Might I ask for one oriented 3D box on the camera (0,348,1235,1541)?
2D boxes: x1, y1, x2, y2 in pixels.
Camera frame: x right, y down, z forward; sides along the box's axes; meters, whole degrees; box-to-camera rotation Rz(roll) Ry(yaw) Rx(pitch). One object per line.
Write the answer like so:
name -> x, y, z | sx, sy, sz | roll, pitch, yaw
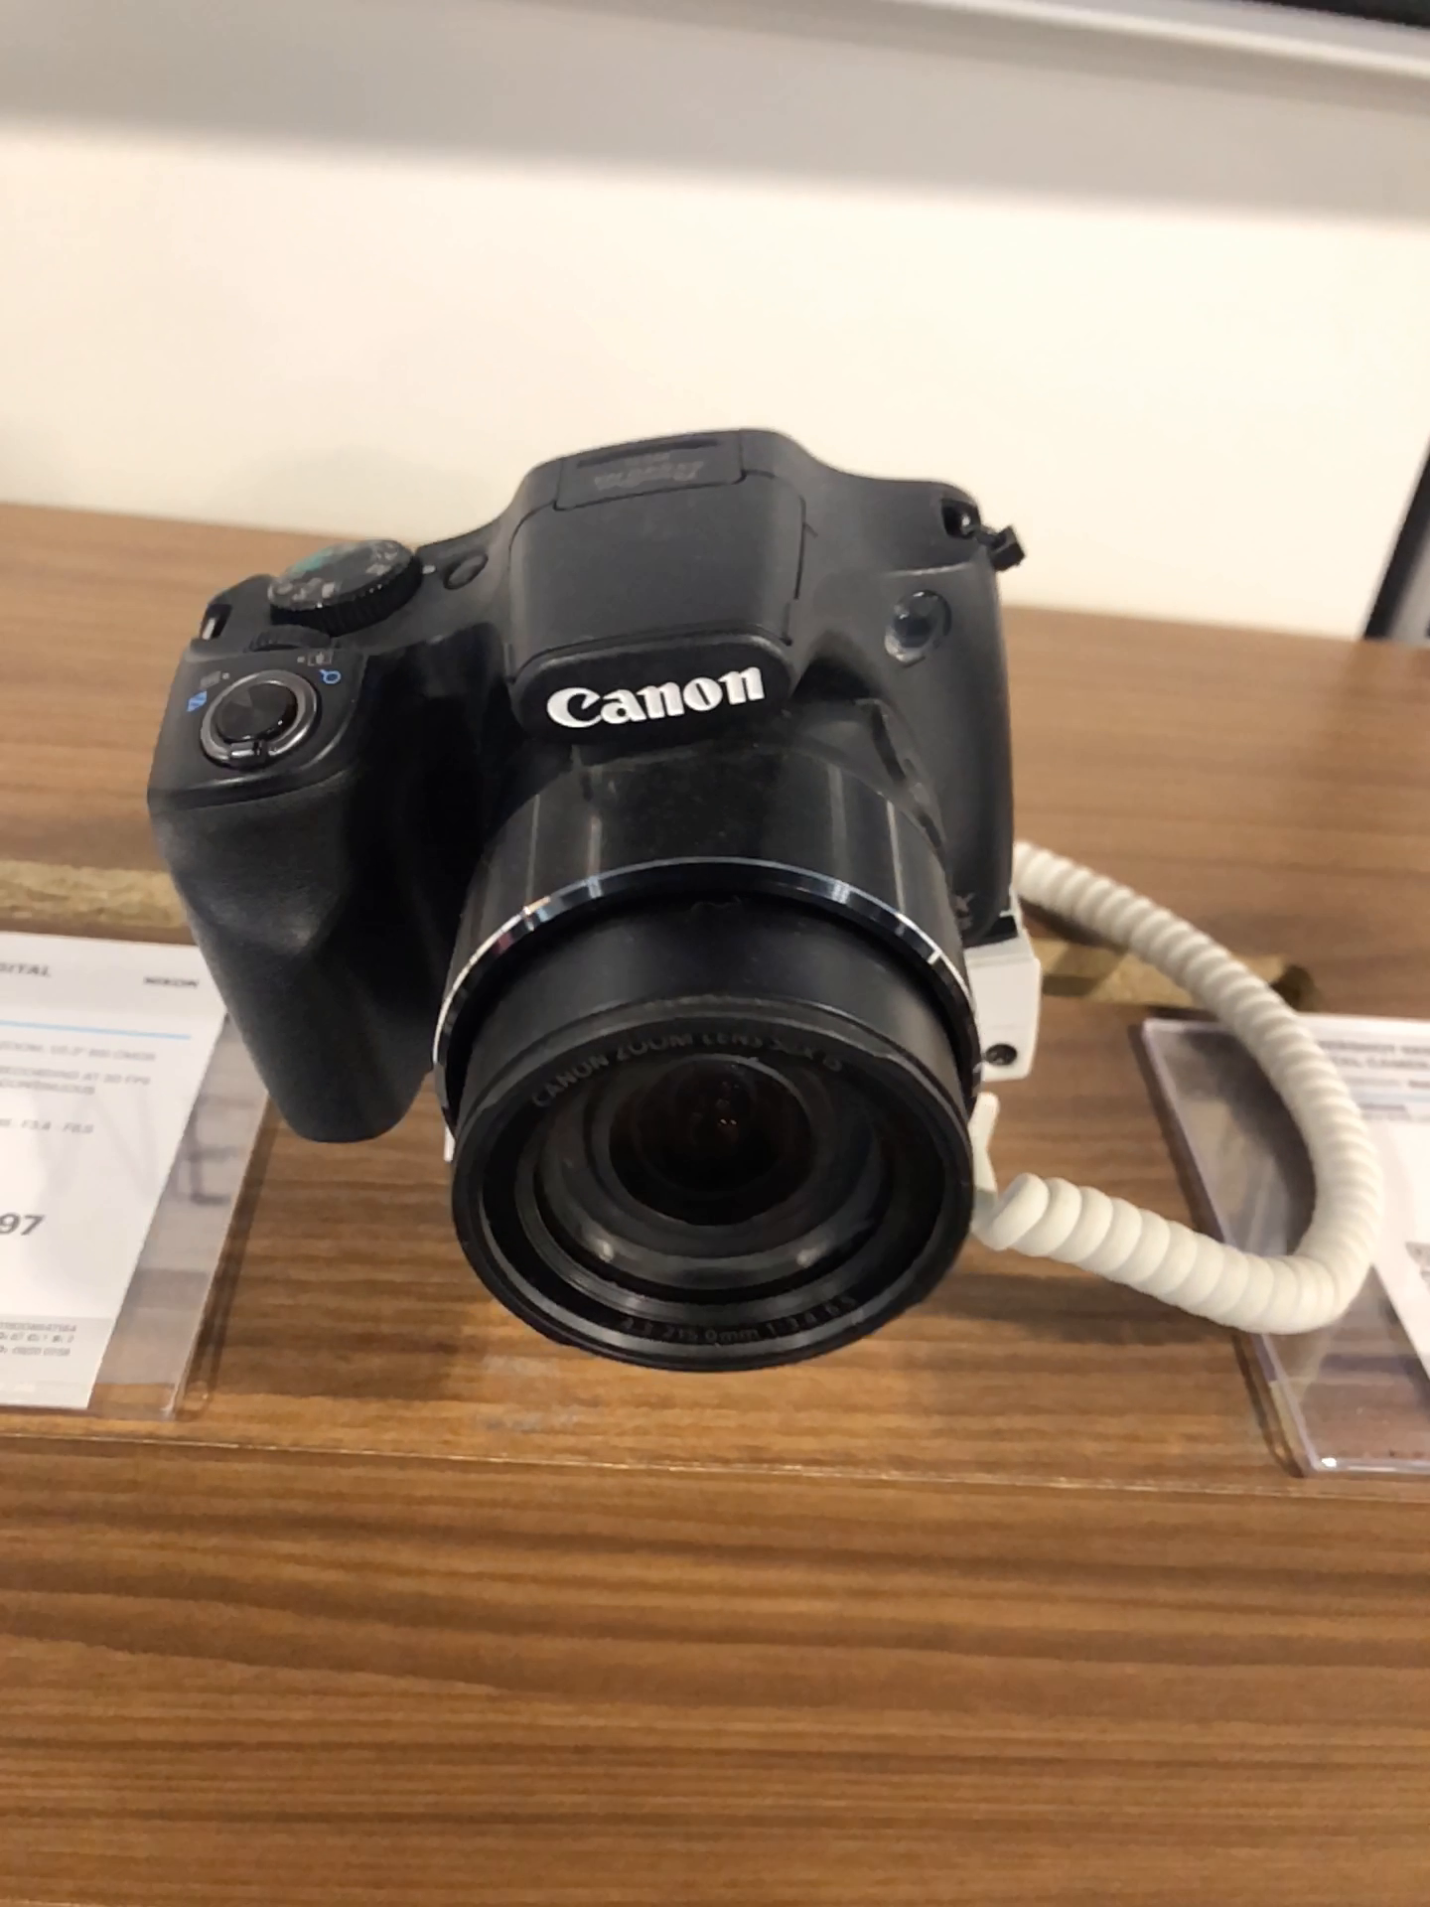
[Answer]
camera -> -0.020, -0.014, 0.215 | 0.130, 0.070, 0.141 | -9, 37, 1
